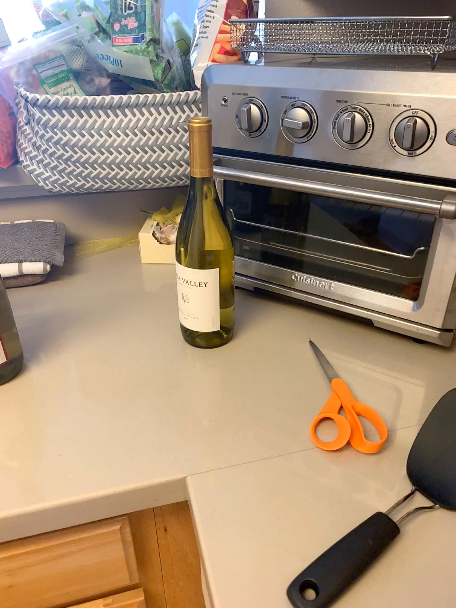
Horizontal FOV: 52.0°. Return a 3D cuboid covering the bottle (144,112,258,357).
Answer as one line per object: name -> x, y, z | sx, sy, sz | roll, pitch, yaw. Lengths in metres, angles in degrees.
bottle -> -0.029, -0.085, 0.592 | 0.090, 0.278, 0.091 | 0, 29, 0
